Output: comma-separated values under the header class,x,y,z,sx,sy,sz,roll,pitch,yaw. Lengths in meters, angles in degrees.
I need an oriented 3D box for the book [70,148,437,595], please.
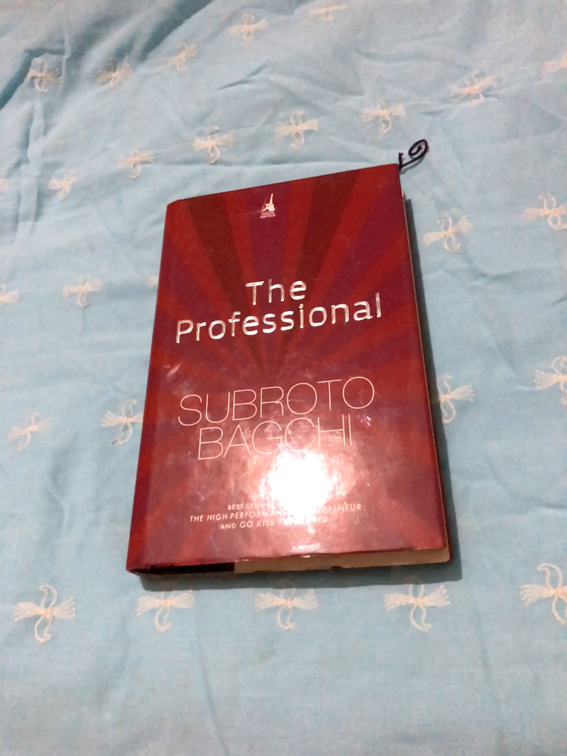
class,x,y,z,sx,sy,sz,roll,pitch,yaw
book,-0.012,-0.012,0.314,0.150,0.030,0.220,-5,62,11
